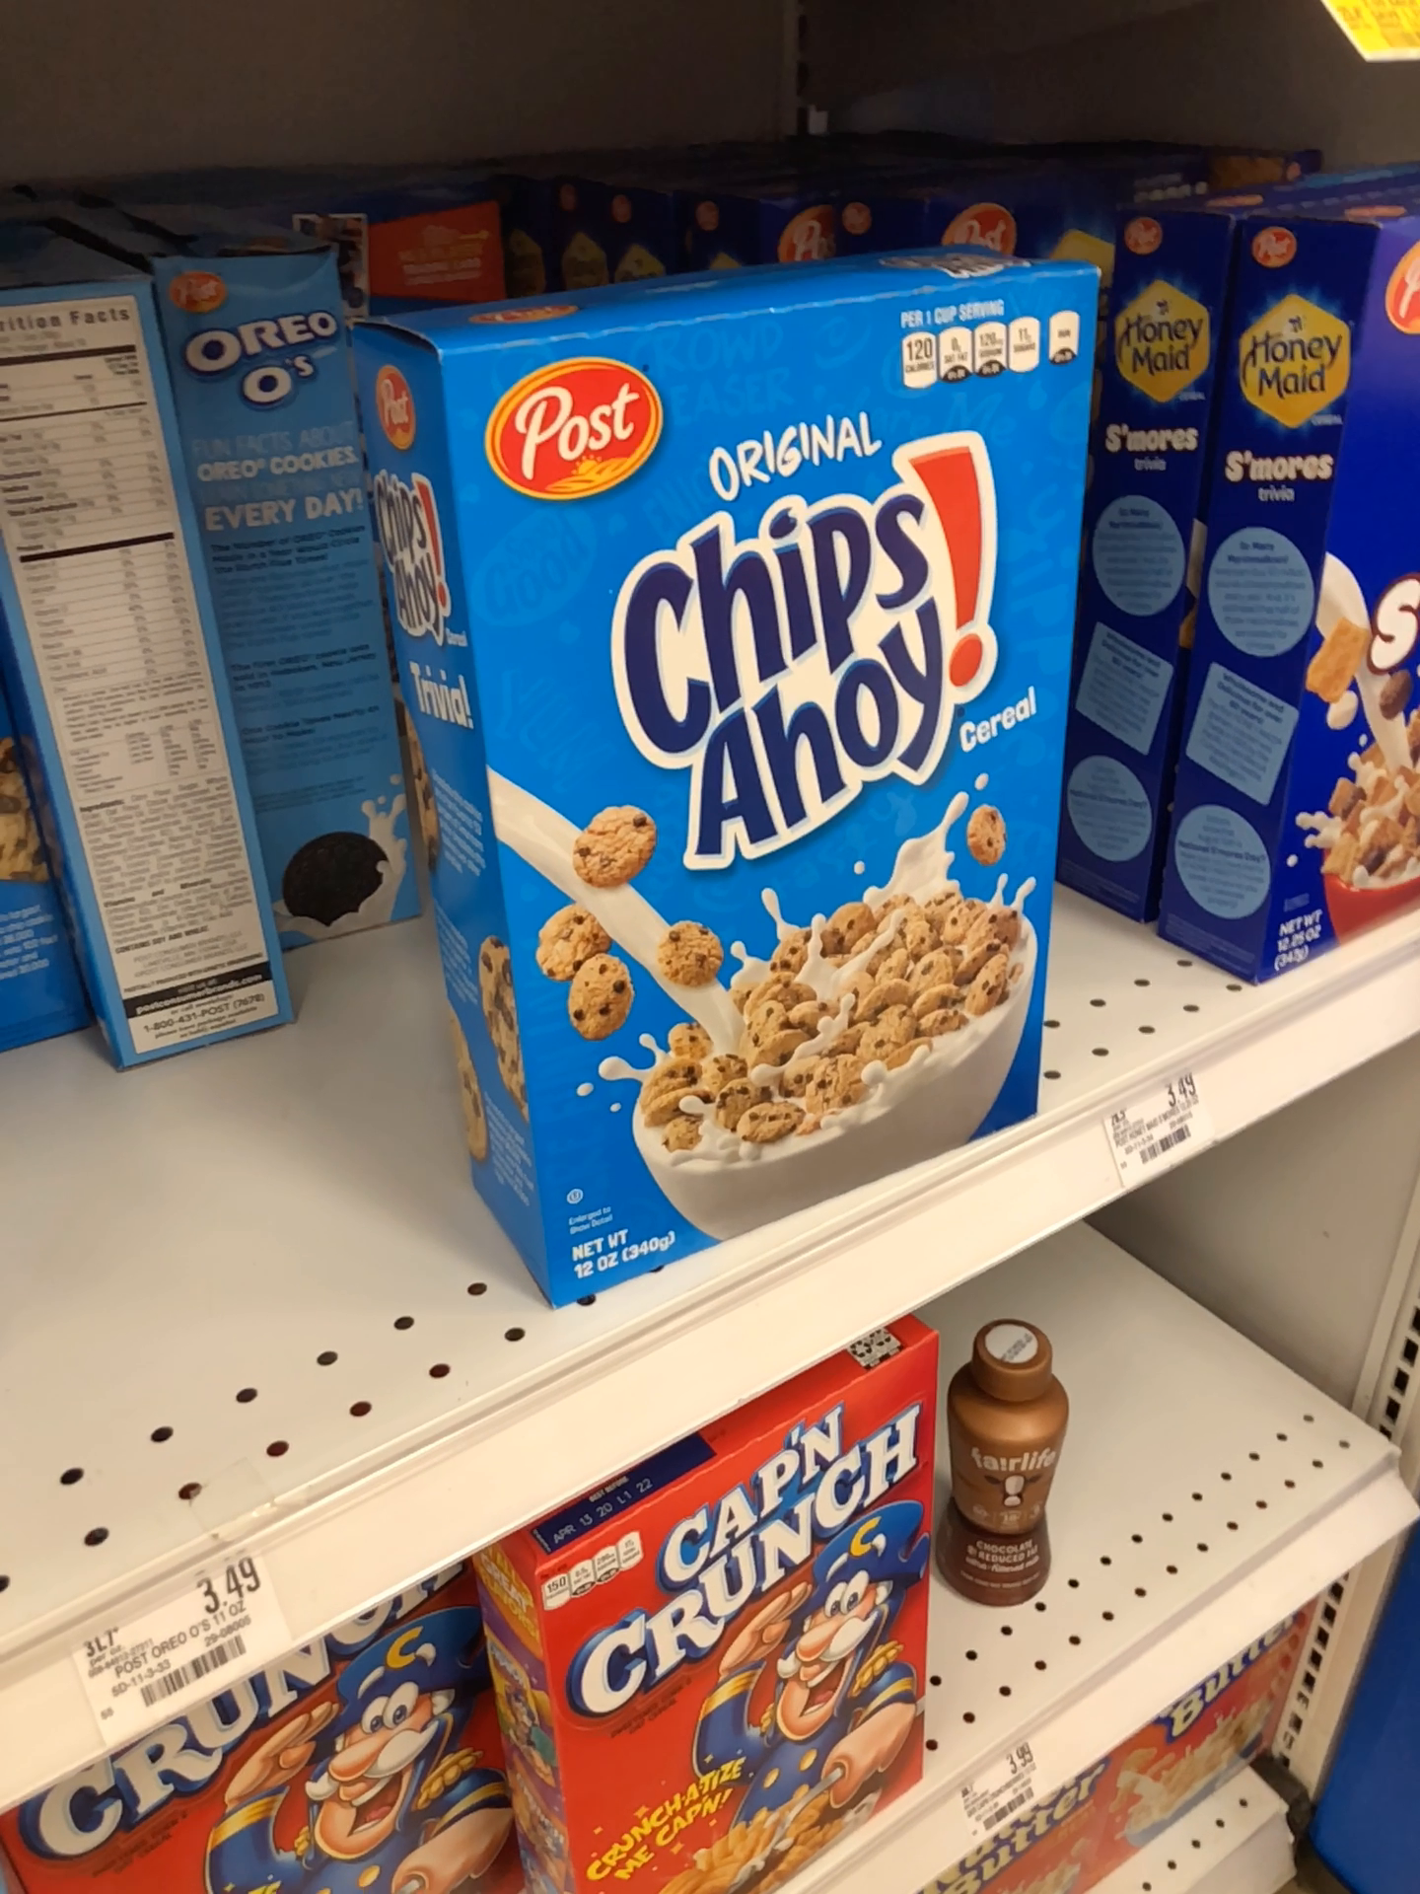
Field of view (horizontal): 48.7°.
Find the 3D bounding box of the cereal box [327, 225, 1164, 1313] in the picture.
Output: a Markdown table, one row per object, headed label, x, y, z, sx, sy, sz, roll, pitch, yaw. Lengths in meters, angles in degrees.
| label | x | y | z | sx | sy | sz | roll | pitch | yaw |
| --- | --- | --- | --- | --- | --- | --- | --- | --- | --- |
| cereal box | 0.016 | -0.053 | 0.445 | 0.190 | 0.259 | 0.080 | -17 | 32 | -24 |
